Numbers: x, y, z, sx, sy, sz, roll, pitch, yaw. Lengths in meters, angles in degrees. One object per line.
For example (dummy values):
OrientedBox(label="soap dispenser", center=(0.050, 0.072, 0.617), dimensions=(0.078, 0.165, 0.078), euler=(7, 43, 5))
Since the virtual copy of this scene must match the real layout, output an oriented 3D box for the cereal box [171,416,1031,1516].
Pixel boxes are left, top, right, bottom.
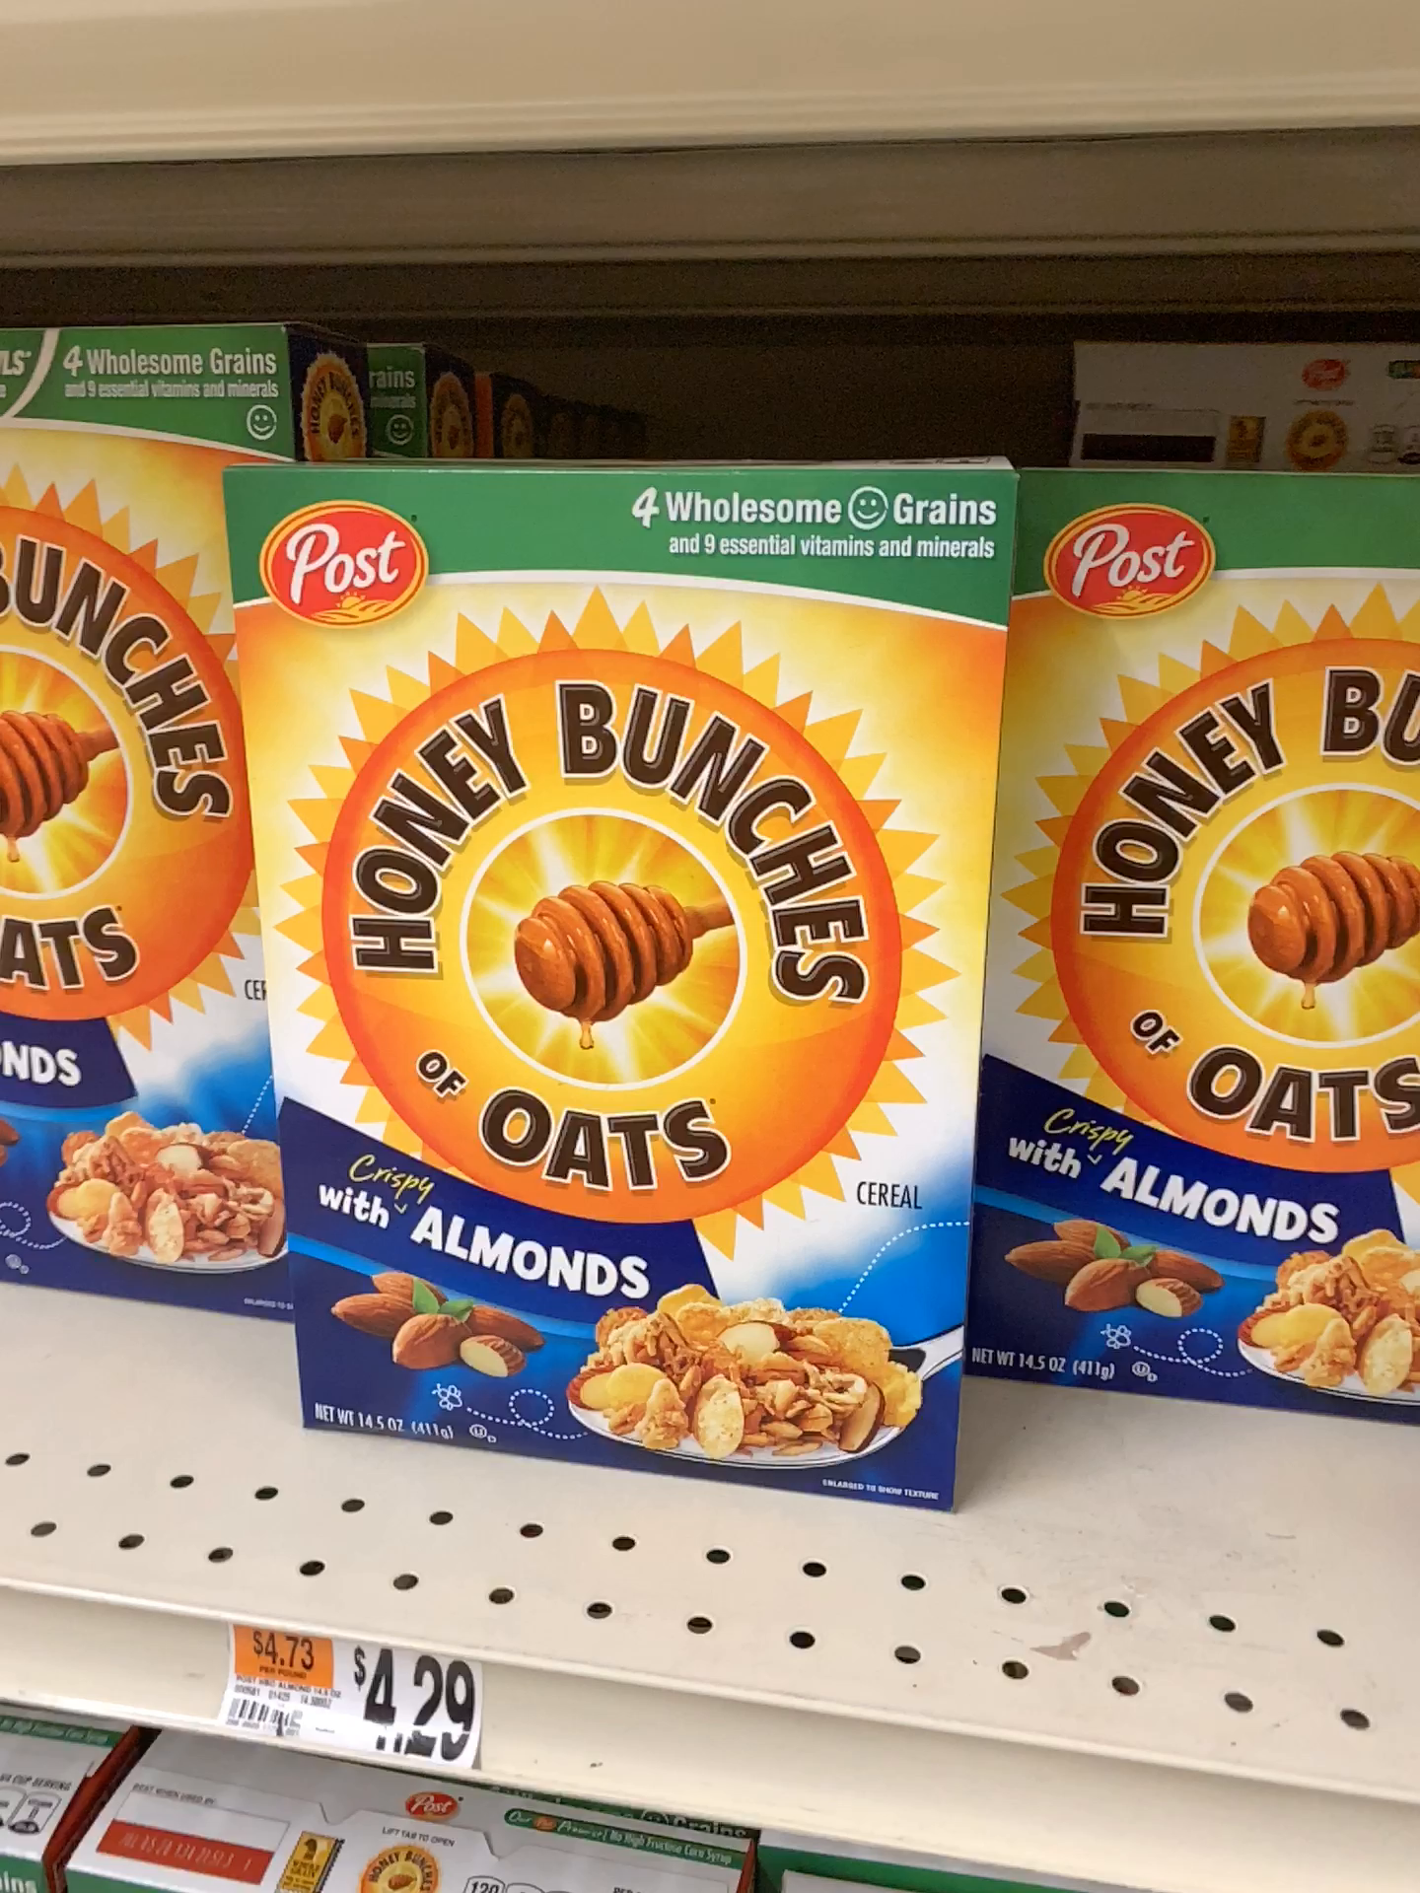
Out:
OrientedBox(label="cereal box", center=(-0.025, 0.005, 0.397), dimensions=(0.200, 0.279, 0.060), euler=(4, 18, 11))
